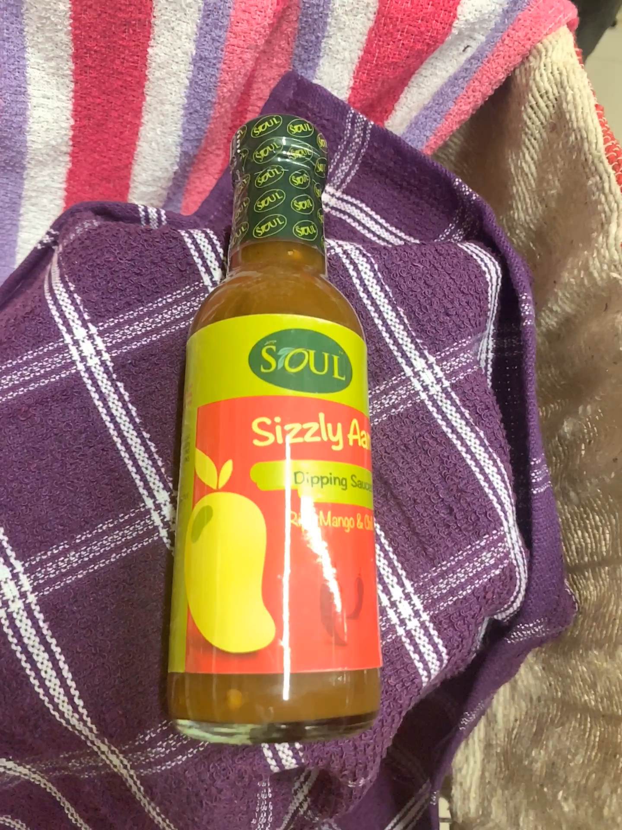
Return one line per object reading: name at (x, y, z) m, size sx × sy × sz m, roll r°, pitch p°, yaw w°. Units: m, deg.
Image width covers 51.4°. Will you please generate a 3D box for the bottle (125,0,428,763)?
bottle at (-0.010, -0.017, 0.188) m, size 0.060 × 0.060 × 0.200 m, roll 2°, pitch 71°, yaw -6°
